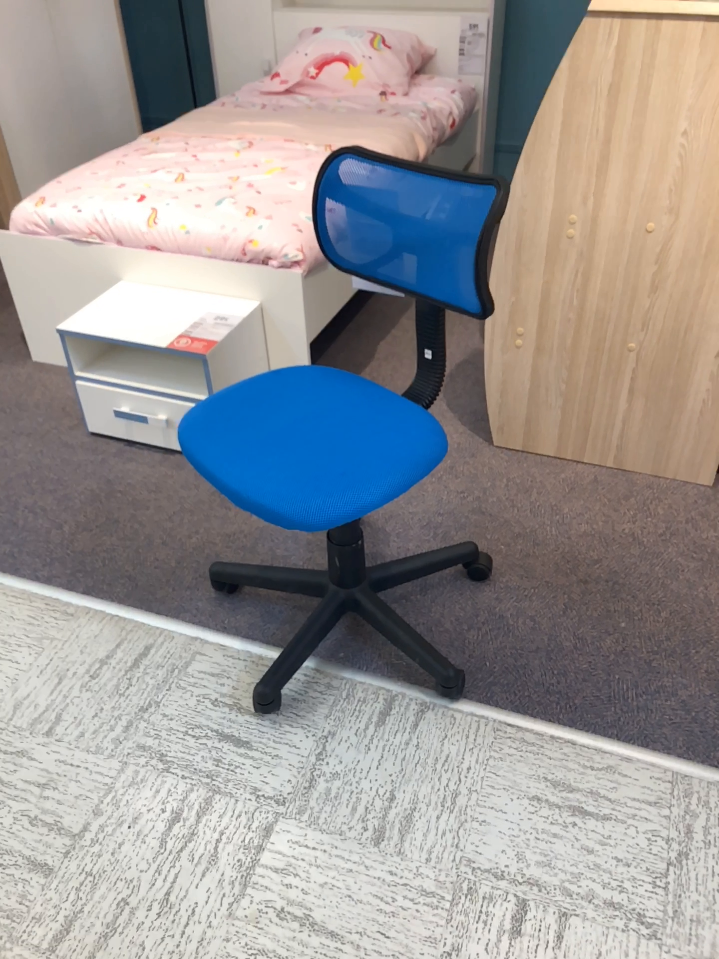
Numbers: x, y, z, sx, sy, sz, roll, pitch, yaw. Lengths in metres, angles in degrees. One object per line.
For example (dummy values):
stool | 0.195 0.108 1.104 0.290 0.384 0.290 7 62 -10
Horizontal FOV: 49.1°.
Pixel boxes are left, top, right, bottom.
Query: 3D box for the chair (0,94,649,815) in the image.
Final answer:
chair | -0.049 -0.095 1.271 0.660 0.795 0.614 25 45 31
